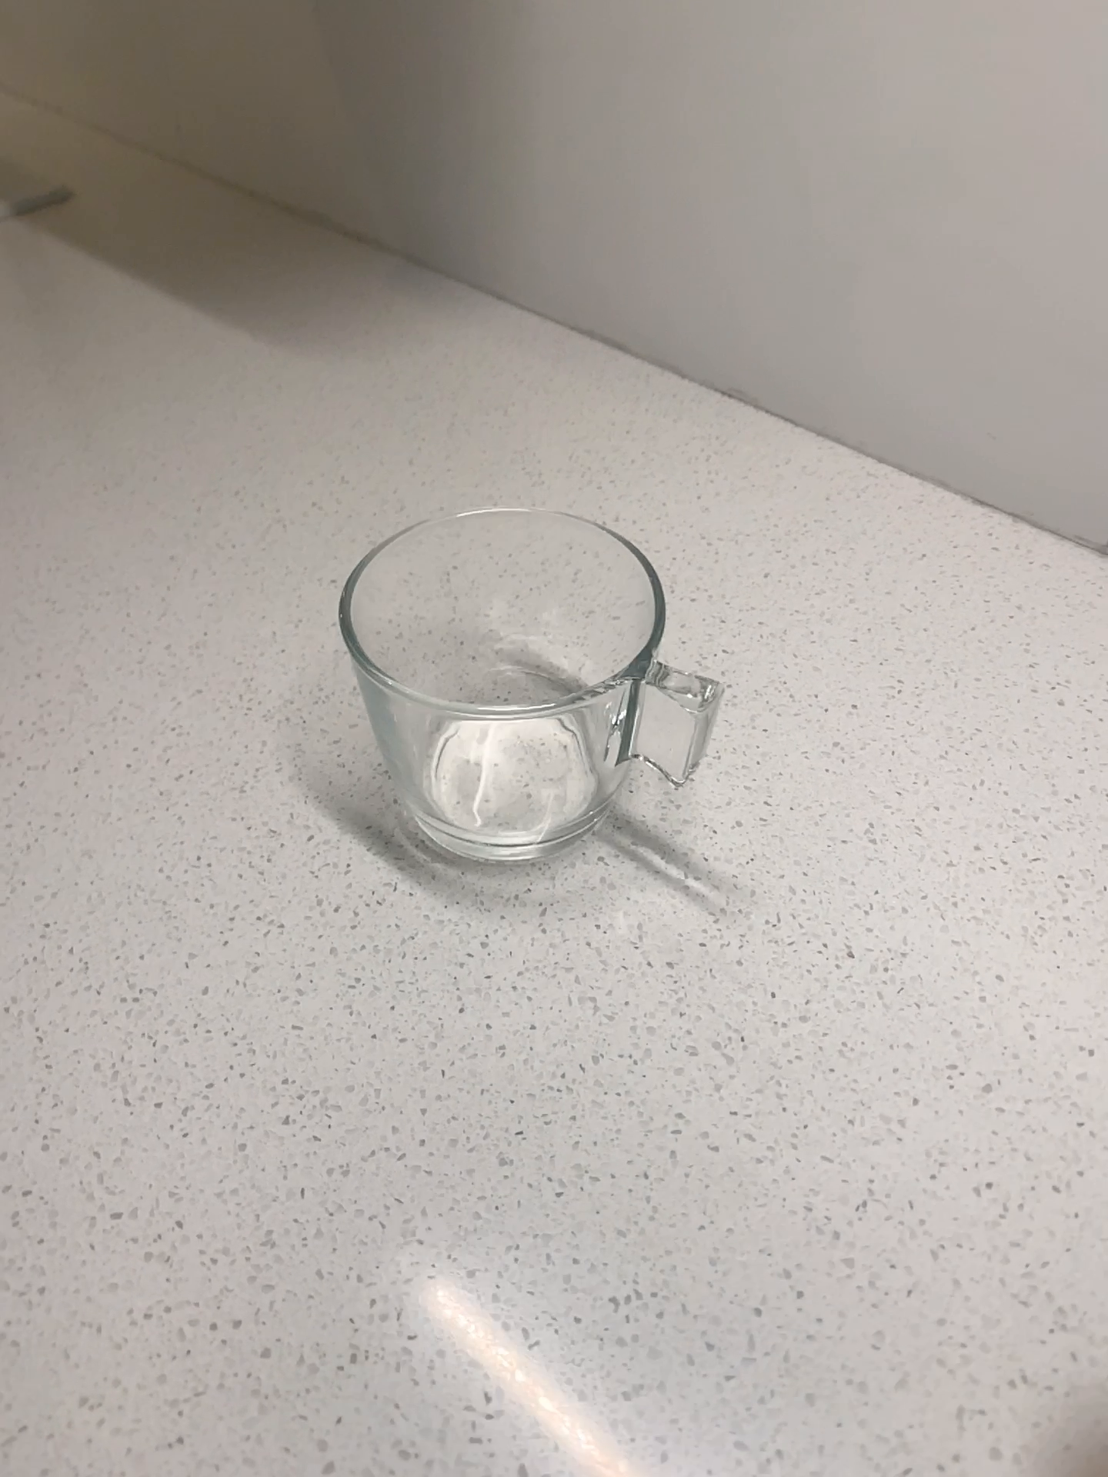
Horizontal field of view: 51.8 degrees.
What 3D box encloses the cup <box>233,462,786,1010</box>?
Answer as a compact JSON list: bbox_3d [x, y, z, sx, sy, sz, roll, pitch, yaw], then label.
[{"bbox_3d":[-0.011,-0.006,0.322,0.110,0.080,0.090,29,52,26],"label":"cup"}]
